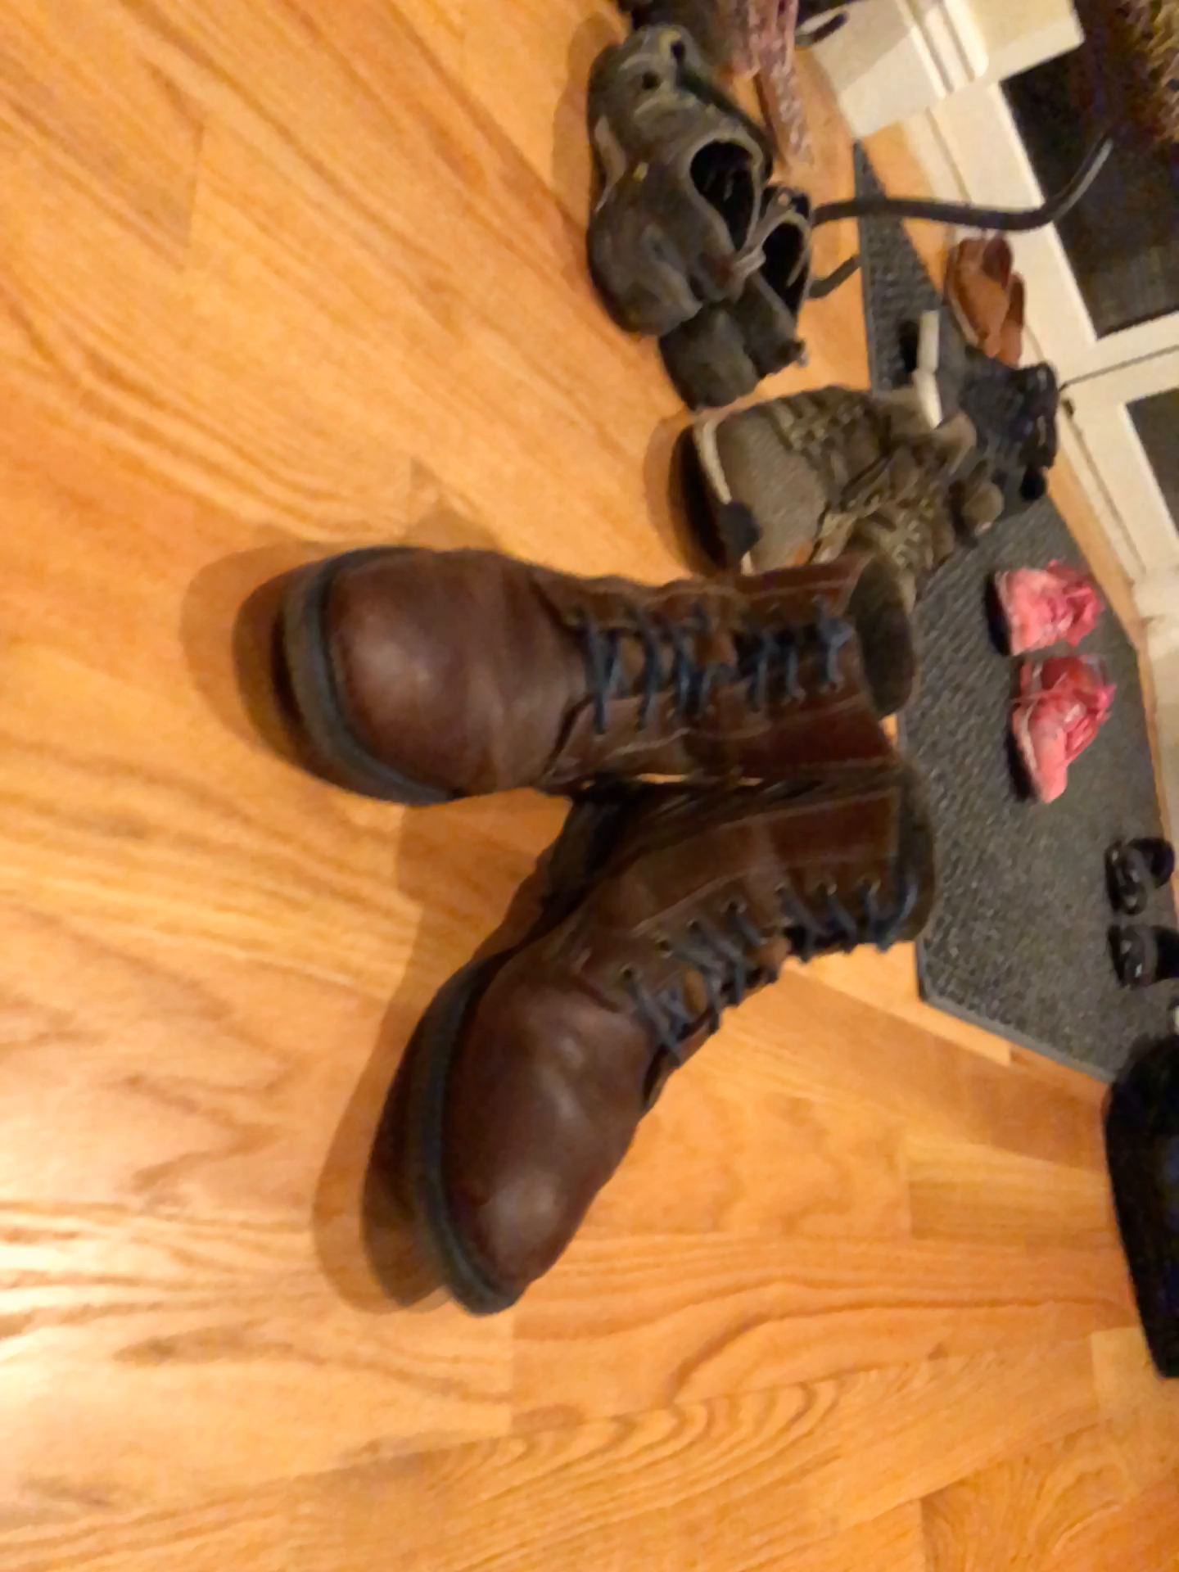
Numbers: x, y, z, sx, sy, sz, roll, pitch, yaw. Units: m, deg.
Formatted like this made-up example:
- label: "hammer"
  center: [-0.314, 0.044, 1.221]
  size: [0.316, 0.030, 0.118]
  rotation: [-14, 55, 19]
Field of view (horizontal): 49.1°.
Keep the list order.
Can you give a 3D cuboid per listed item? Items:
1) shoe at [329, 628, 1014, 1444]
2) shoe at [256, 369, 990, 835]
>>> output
- label: "shoe"
  center: [0.060, 0.086, 0.543]
  size: [0.128, 0.176, 0.305]
  rotation: [61, 35, -27]
- label: "shoe"
  center: [0.039, -0.056, 0.553]
  size: [0.311, 0.168, 0.113]
  rotation: [-2, 81, -59]
